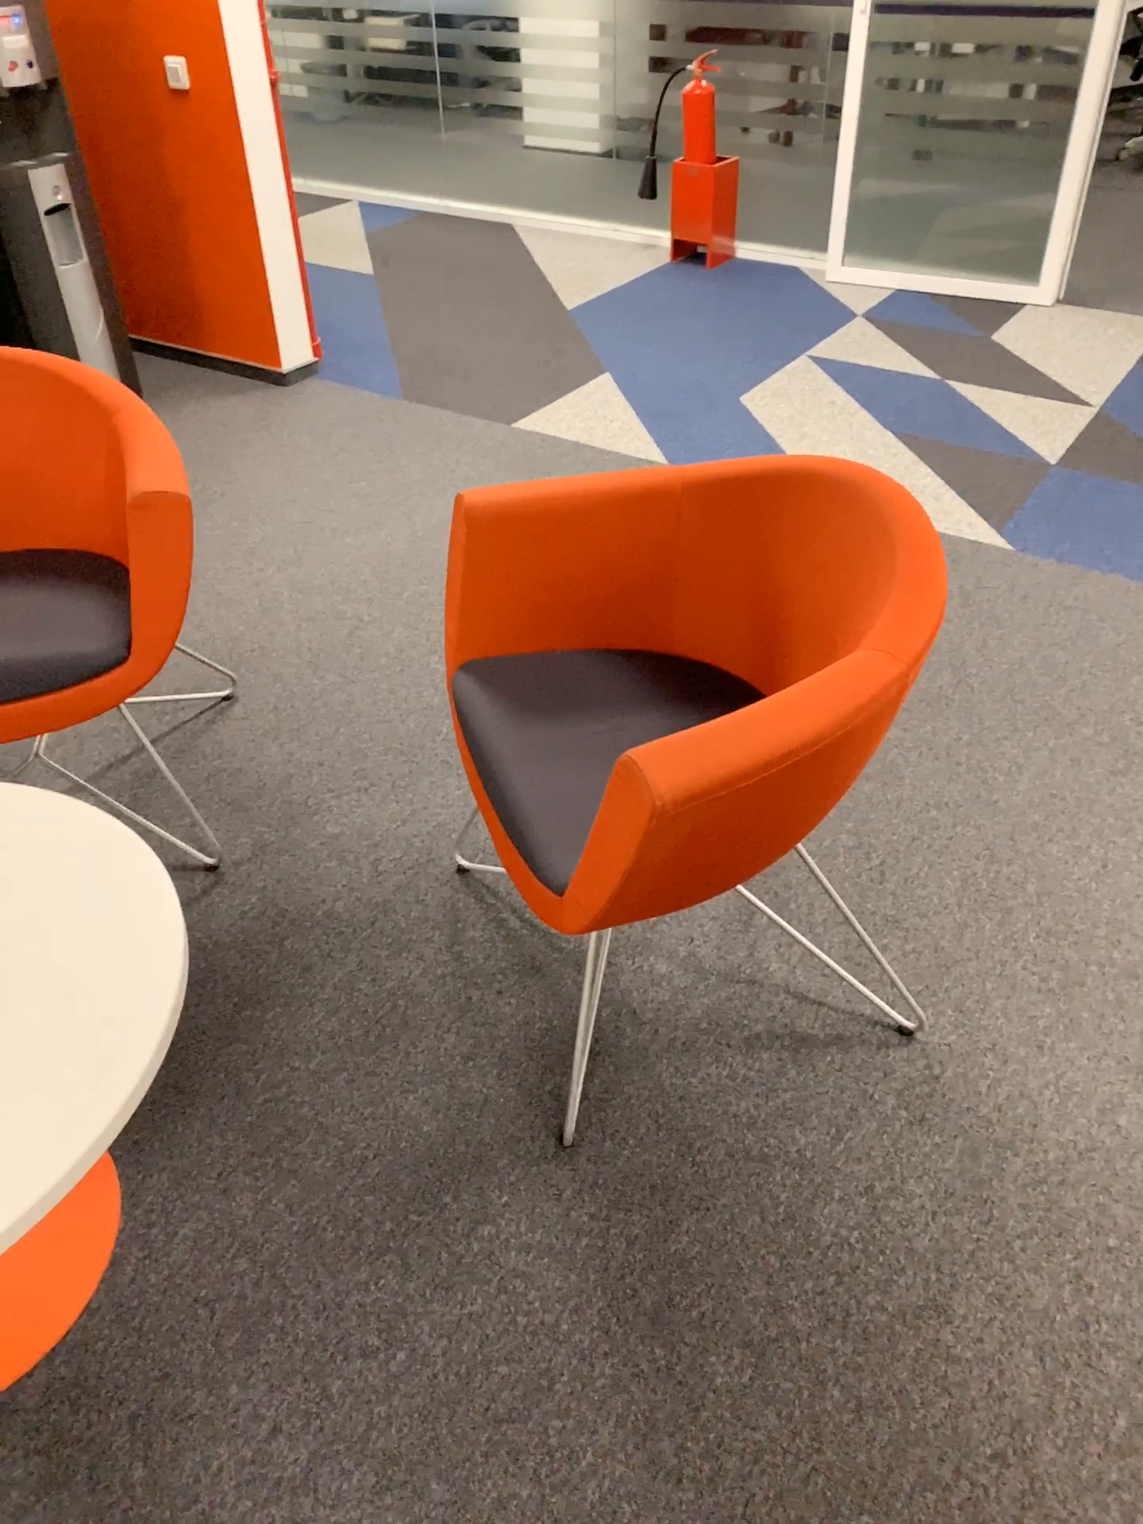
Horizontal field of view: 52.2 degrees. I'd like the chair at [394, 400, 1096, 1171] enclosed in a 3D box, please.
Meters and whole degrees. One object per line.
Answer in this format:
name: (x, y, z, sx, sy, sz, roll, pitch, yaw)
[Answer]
chair: (0.165, -0.001, 1.613, 0.620, 0.706, 0.643, -13, 39, -14)
